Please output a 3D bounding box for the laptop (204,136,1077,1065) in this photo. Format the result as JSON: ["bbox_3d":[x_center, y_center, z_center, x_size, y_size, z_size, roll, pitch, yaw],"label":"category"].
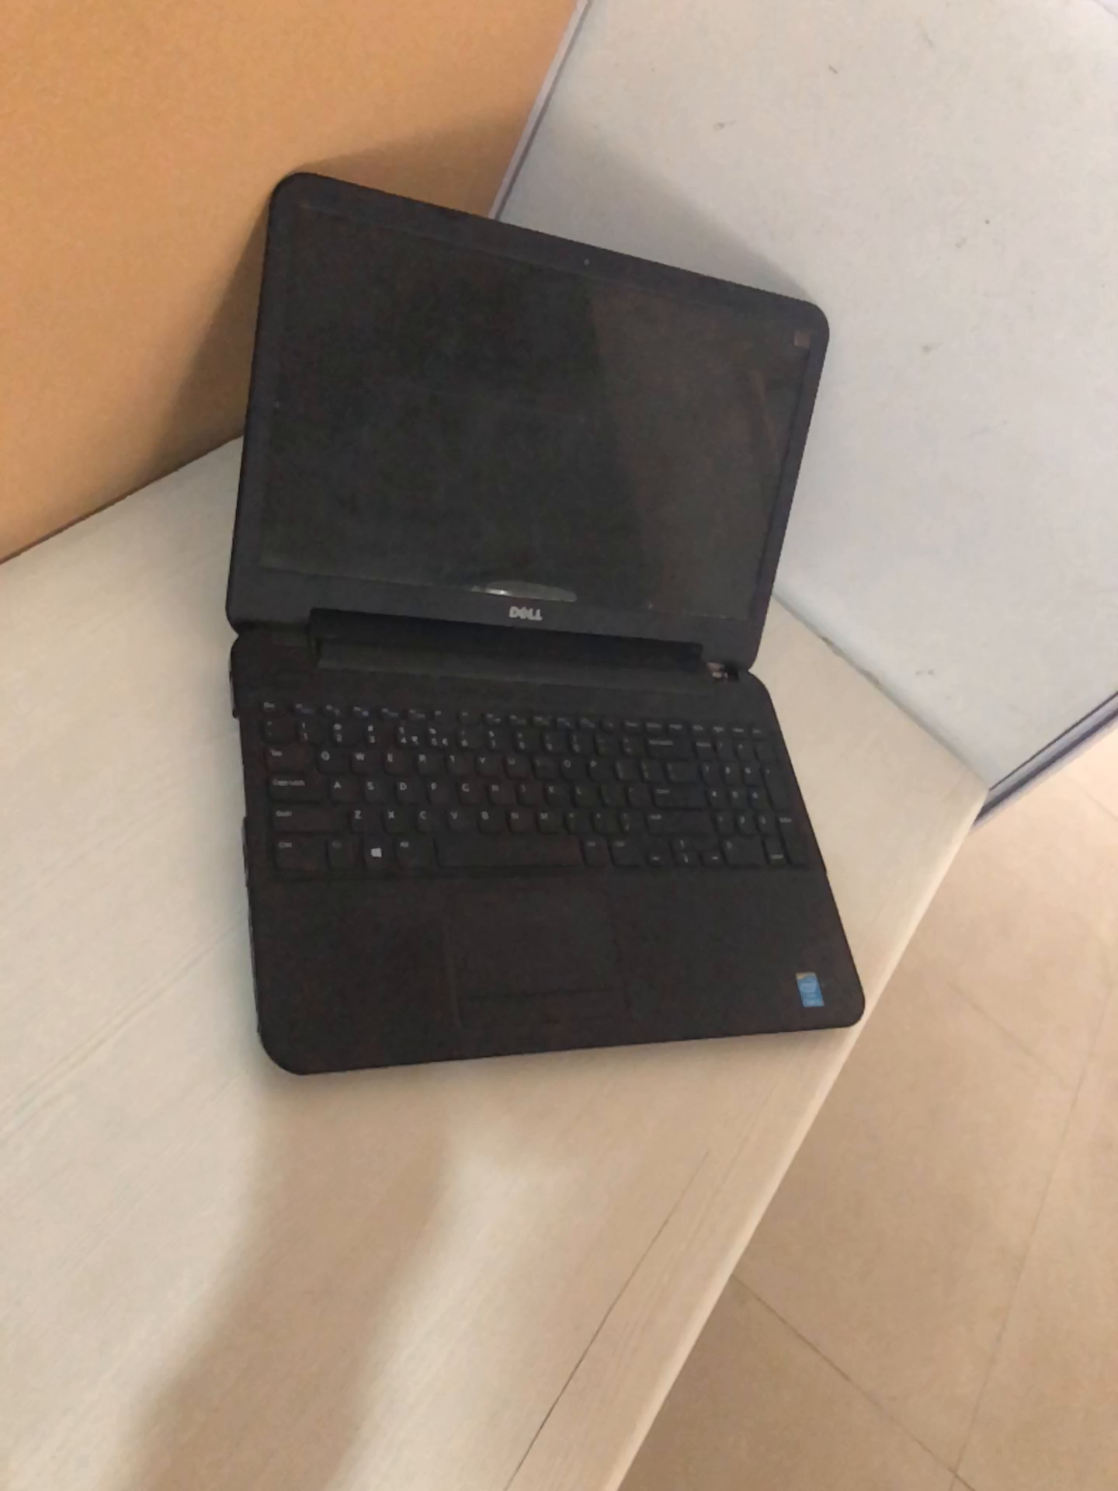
[{"bbox_3d":[0.017,-0.072,0.672,0.353,0.175,0.414,3,59,-27],"label":"laptop"}]
